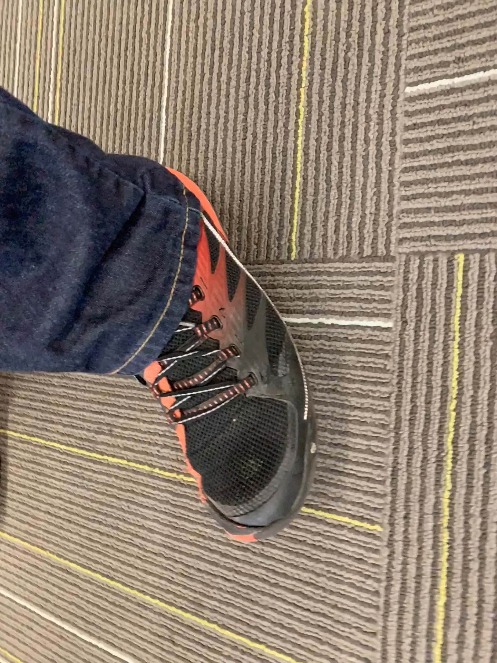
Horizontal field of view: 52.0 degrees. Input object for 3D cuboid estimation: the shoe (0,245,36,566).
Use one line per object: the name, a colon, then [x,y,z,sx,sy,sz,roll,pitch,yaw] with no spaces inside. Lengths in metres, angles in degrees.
shoe: [-0.351,0.080,0.591,0.121,0.119,0.320,-12,82,31]

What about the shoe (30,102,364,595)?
shoe: [-0.046,0.010,0.381,0.131,0.099,0.300,-28,75,28]
